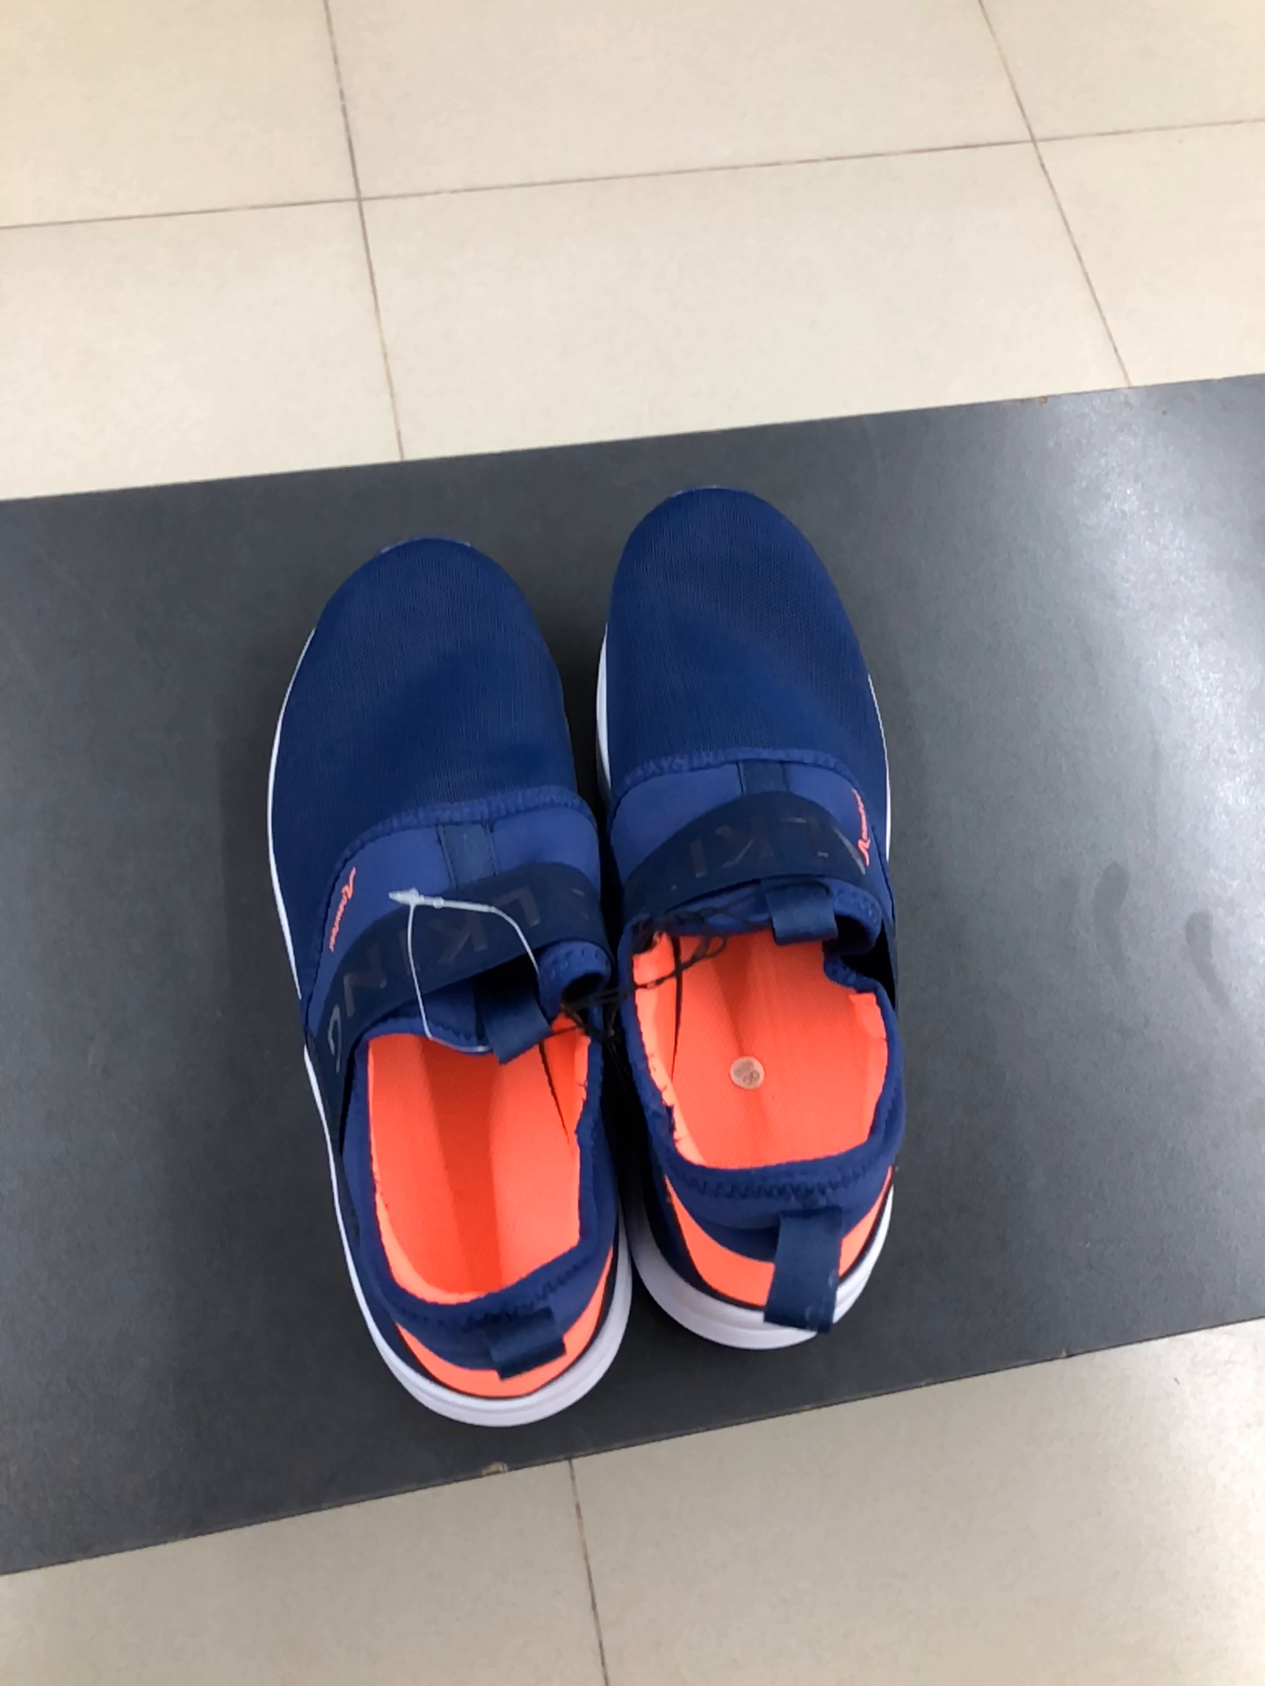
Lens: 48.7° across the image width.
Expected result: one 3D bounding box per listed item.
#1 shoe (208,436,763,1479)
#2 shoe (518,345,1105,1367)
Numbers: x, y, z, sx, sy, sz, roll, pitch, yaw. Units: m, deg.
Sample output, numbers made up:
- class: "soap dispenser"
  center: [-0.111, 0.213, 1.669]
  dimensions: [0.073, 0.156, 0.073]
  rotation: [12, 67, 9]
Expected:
- class: "shoe"
  center: [-0.049, 0.030, 0.406]
  dimensions: [0.110, 0.120, 0.261]
  rotation: [-6, 69, -7]
- class: "shoe"
  center: [0.033, 0.008, 0.372]
  dimensions: [0.110, 0.120, 0.241]
  rotation: [-3, 69, 1]
